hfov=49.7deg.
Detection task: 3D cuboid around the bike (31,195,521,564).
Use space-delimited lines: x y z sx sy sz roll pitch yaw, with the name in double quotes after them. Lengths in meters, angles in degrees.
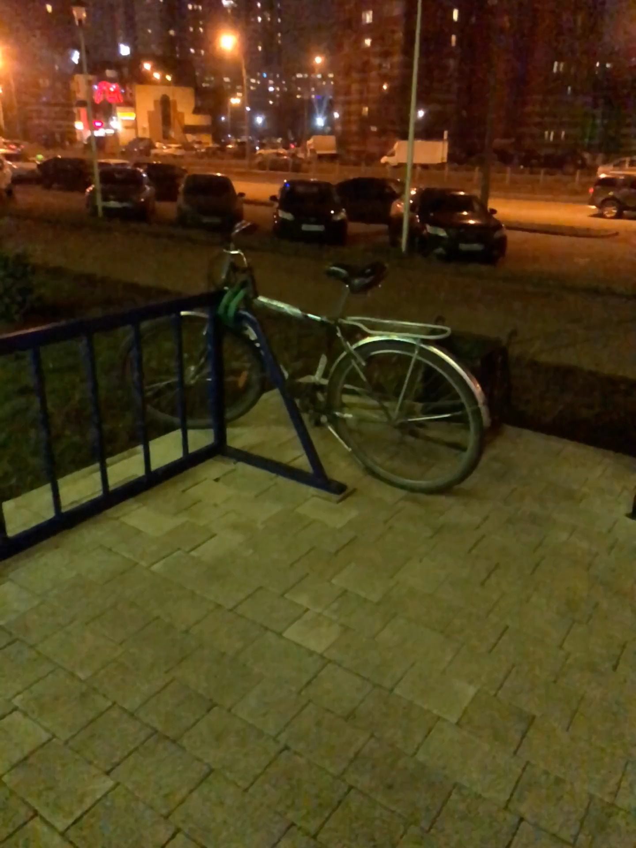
-0.180 -0.286 2.877 1.718 1.046 0.682 14 25 22 "bike"
